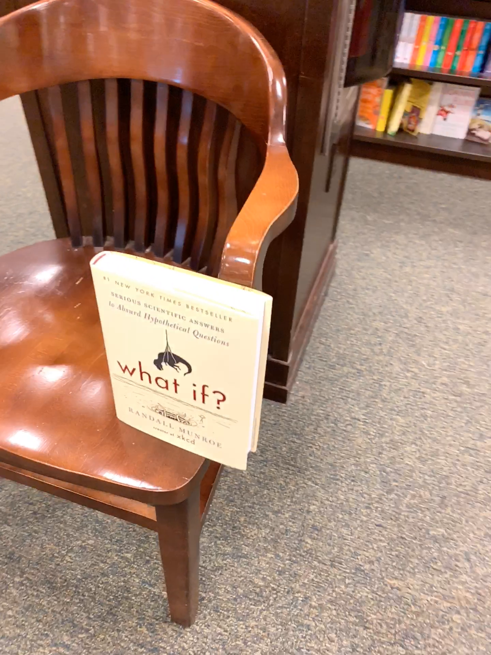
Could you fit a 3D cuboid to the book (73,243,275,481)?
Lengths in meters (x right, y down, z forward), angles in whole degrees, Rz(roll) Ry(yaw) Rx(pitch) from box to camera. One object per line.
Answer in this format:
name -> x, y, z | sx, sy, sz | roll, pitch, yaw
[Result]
book -> -0.074, 0.045, 0.551 | 0.188, 0.239, 0.050 | 17, 42, 15
